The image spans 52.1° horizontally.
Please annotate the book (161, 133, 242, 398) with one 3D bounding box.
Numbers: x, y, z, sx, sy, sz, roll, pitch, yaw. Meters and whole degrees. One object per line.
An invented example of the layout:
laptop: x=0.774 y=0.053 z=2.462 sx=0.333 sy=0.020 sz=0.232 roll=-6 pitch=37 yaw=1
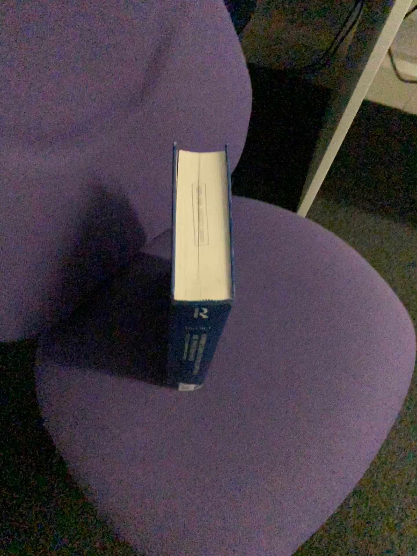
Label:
book: x=-0.018 y=0.011 z=0.461 sx=0.052 sy=0.264 sz=0.182 roll=3 pitch=63 yaw=-6
